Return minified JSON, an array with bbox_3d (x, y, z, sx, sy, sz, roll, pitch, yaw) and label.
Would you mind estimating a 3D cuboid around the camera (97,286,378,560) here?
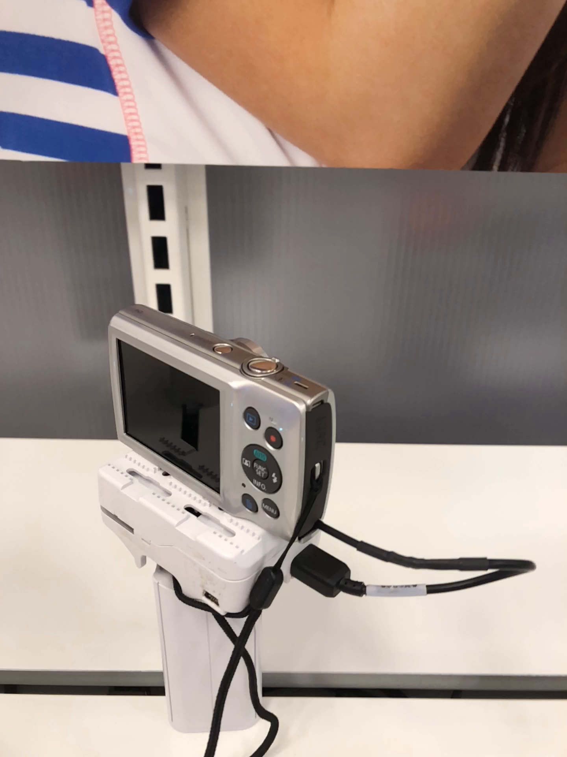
[{"bbox_3d":[-0.018,0.010,0.223,0.089,0.055,0.043,23,35,35],"label":"camera"}]
